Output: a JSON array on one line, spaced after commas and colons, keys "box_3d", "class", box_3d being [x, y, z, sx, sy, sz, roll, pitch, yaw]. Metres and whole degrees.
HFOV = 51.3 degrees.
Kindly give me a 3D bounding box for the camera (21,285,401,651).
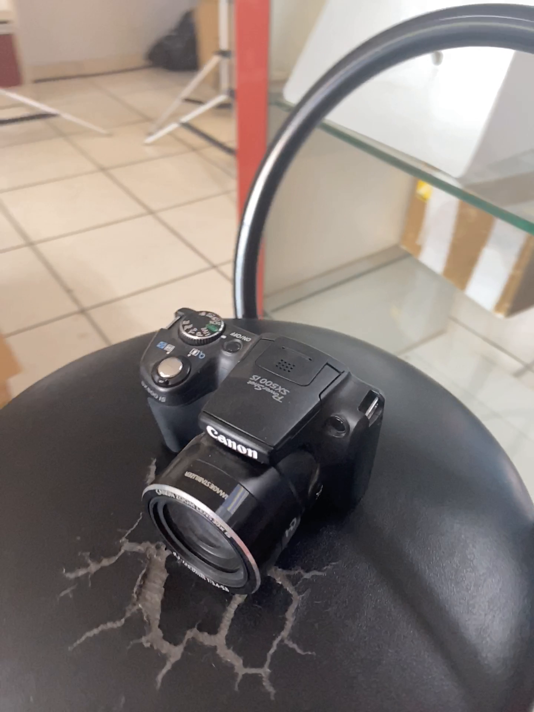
[{"box_3d": [-0.018, 0.037, 0.230, 0.110, 0.070, 0.090, 21, 44, 22], "class": "camera"}]
